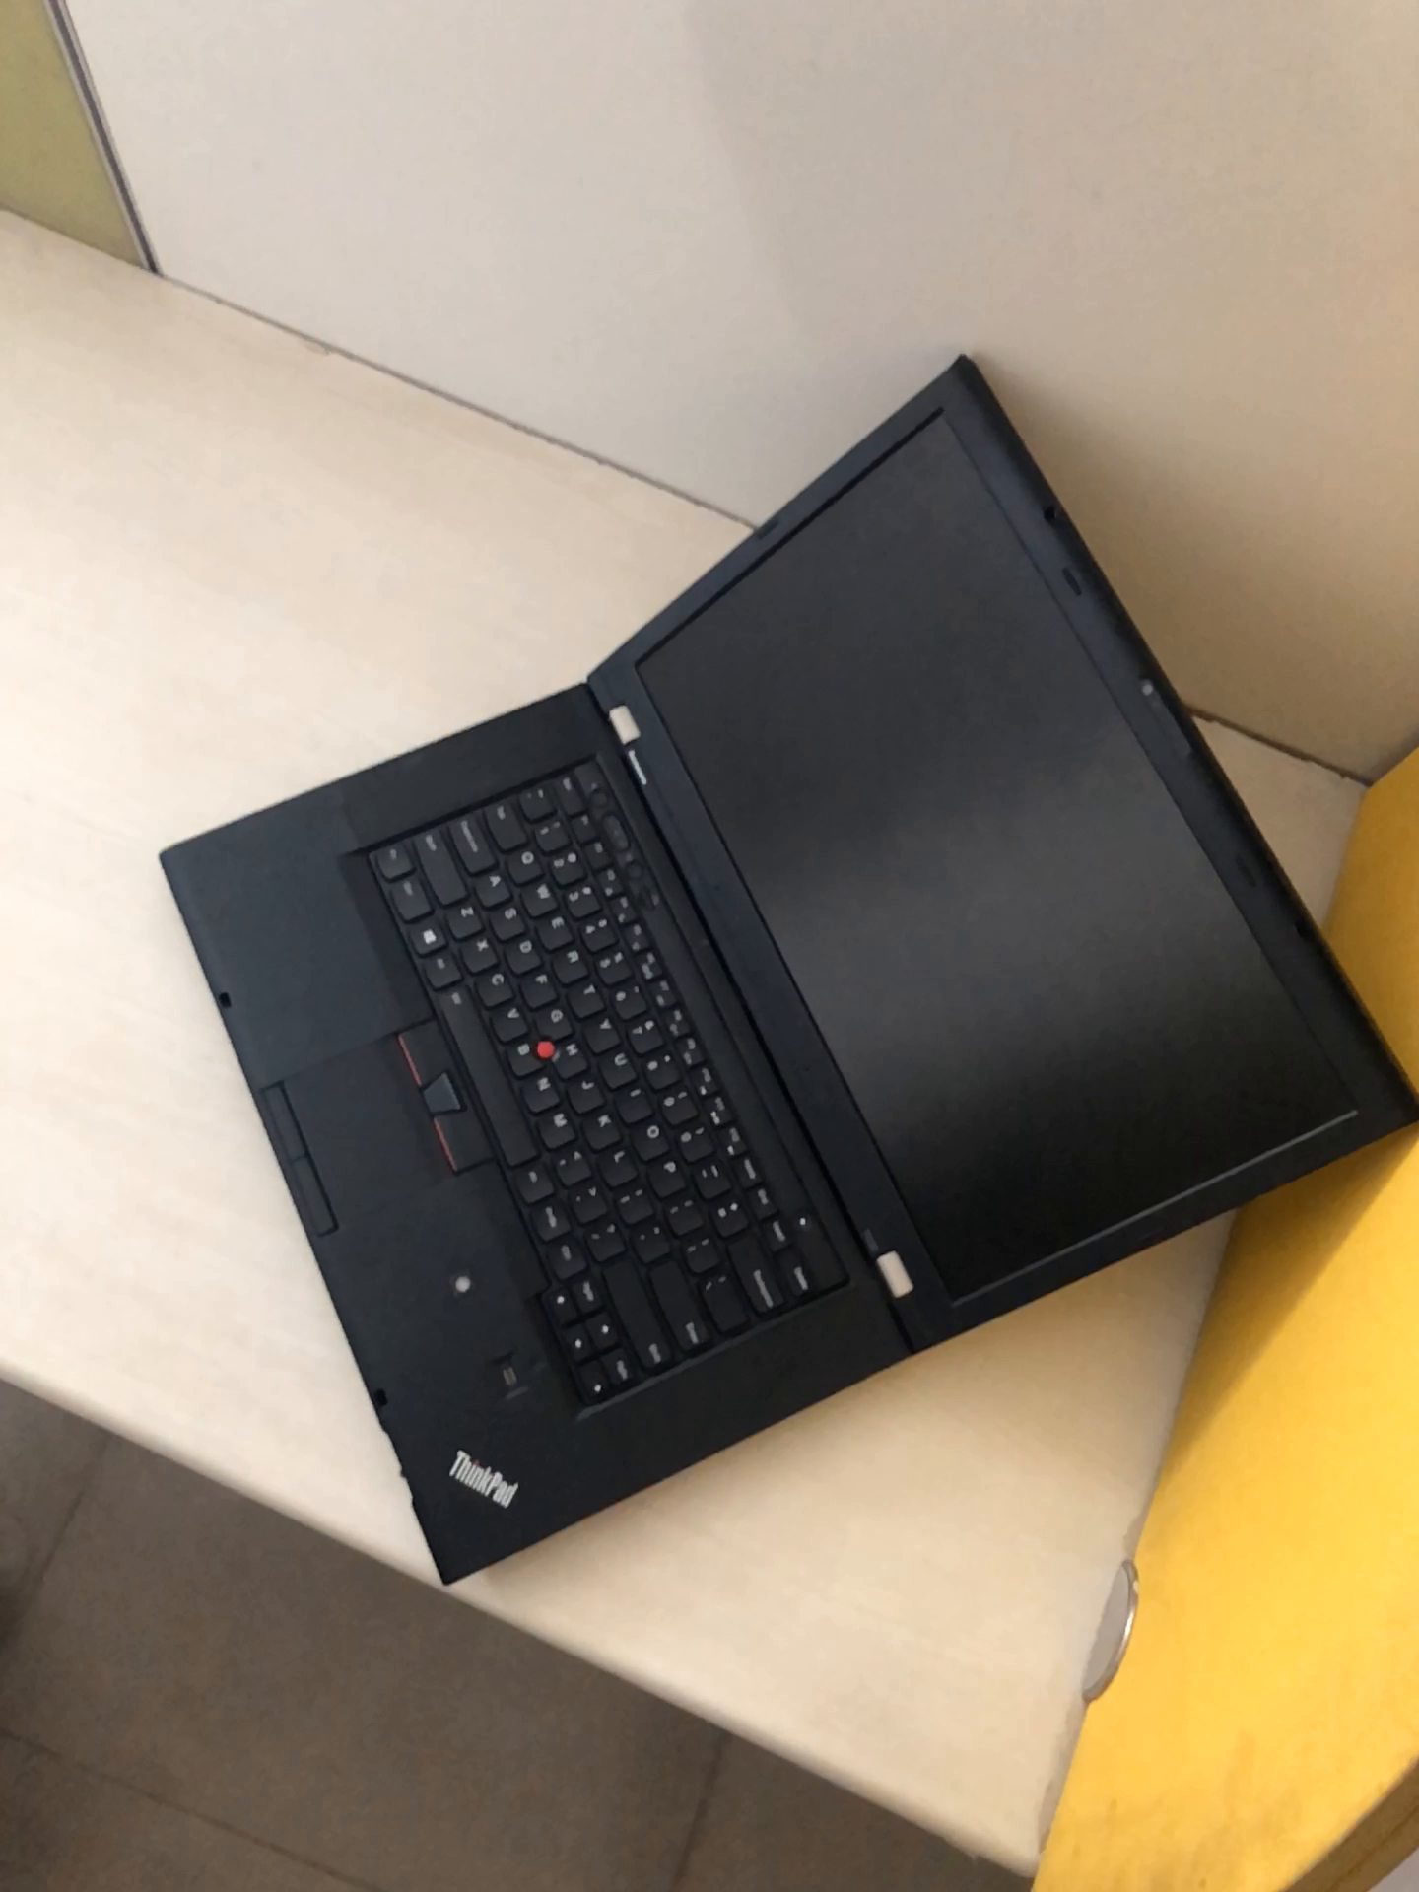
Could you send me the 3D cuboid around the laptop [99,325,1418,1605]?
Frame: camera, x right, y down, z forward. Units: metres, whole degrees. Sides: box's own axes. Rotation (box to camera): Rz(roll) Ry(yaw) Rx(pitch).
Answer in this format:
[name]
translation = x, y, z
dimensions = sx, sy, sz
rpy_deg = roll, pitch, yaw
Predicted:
[laptop]
translation = 0.012, 0.002, 0.673
dimensions = 0.418, 0.144, 0.353
rpy_deg = -24, 77, -7
